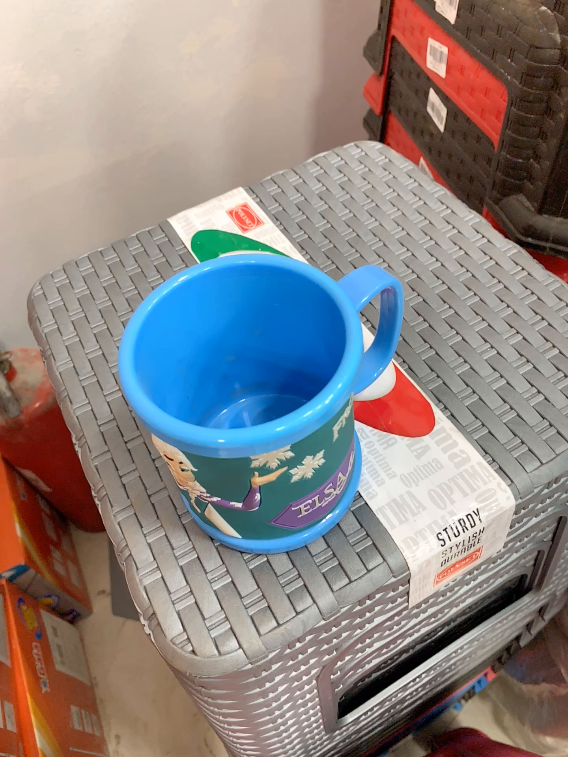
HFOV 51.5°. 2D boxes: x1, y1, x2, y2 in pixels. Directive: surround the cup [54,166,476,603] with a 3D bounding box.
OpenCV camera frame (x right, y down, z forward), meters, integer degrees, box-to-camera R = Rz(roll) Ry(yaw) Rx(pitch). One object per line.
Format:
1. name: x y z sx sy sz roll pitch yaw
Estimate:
1. cup: -0.001 0.003 0.227 0.110 0.099 0.080 -41 59 -20
